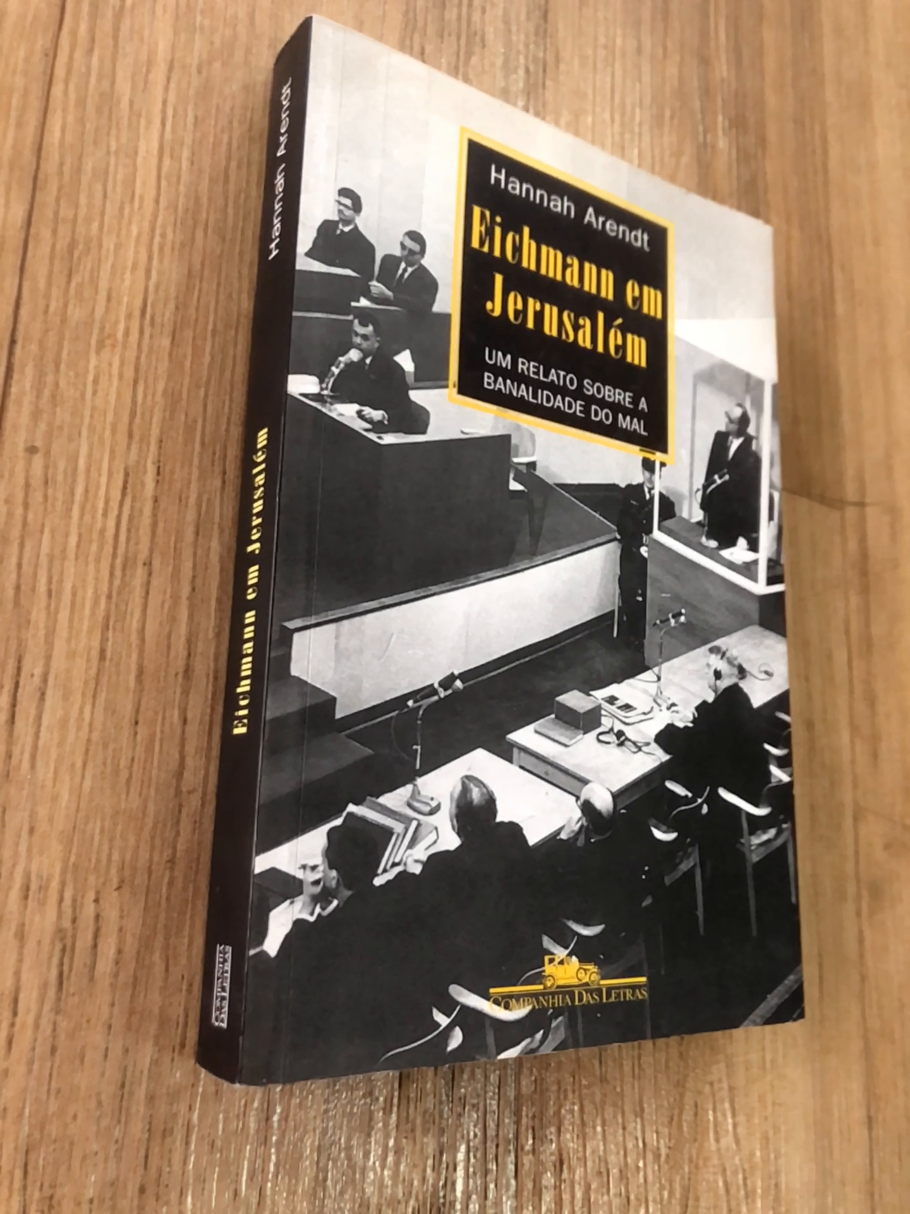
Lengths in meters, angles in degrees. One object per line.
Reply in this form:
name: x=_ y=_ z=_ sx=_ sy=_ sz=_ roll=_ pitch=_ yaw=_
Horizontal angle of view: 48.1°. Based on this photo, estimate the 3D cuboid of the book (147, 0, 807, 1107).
book: x=0.016 y=-0.011 z=0.224 sx=0.141 sy=0.030 sz=0.200 roll=9 pitch=76 yaw=-33
